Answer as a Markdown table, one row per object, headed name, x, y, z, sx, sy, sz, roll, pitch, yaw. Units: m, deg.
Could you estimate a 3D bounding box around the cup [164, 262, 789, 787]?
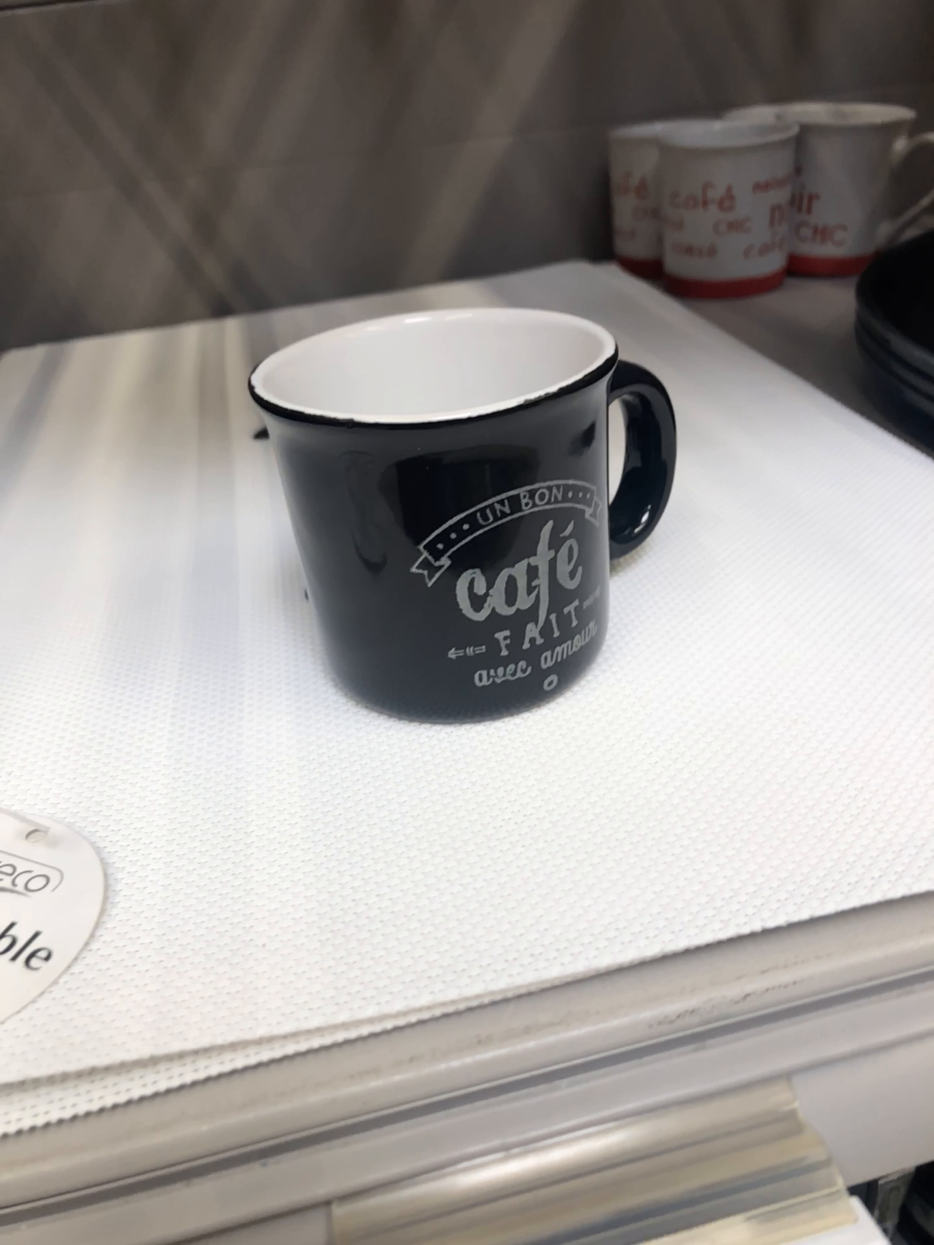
| name | x | y | z | sx | sy | sz | roll | pitch | yaw |
| --- | --- | --- | --- | --- | --- | --- | --- | --- | --- |
| cup | 0.003 | -0.030 | 0.224 | 0.101 | 0.064 | 0.075 | -23 | 35 | -26 |
